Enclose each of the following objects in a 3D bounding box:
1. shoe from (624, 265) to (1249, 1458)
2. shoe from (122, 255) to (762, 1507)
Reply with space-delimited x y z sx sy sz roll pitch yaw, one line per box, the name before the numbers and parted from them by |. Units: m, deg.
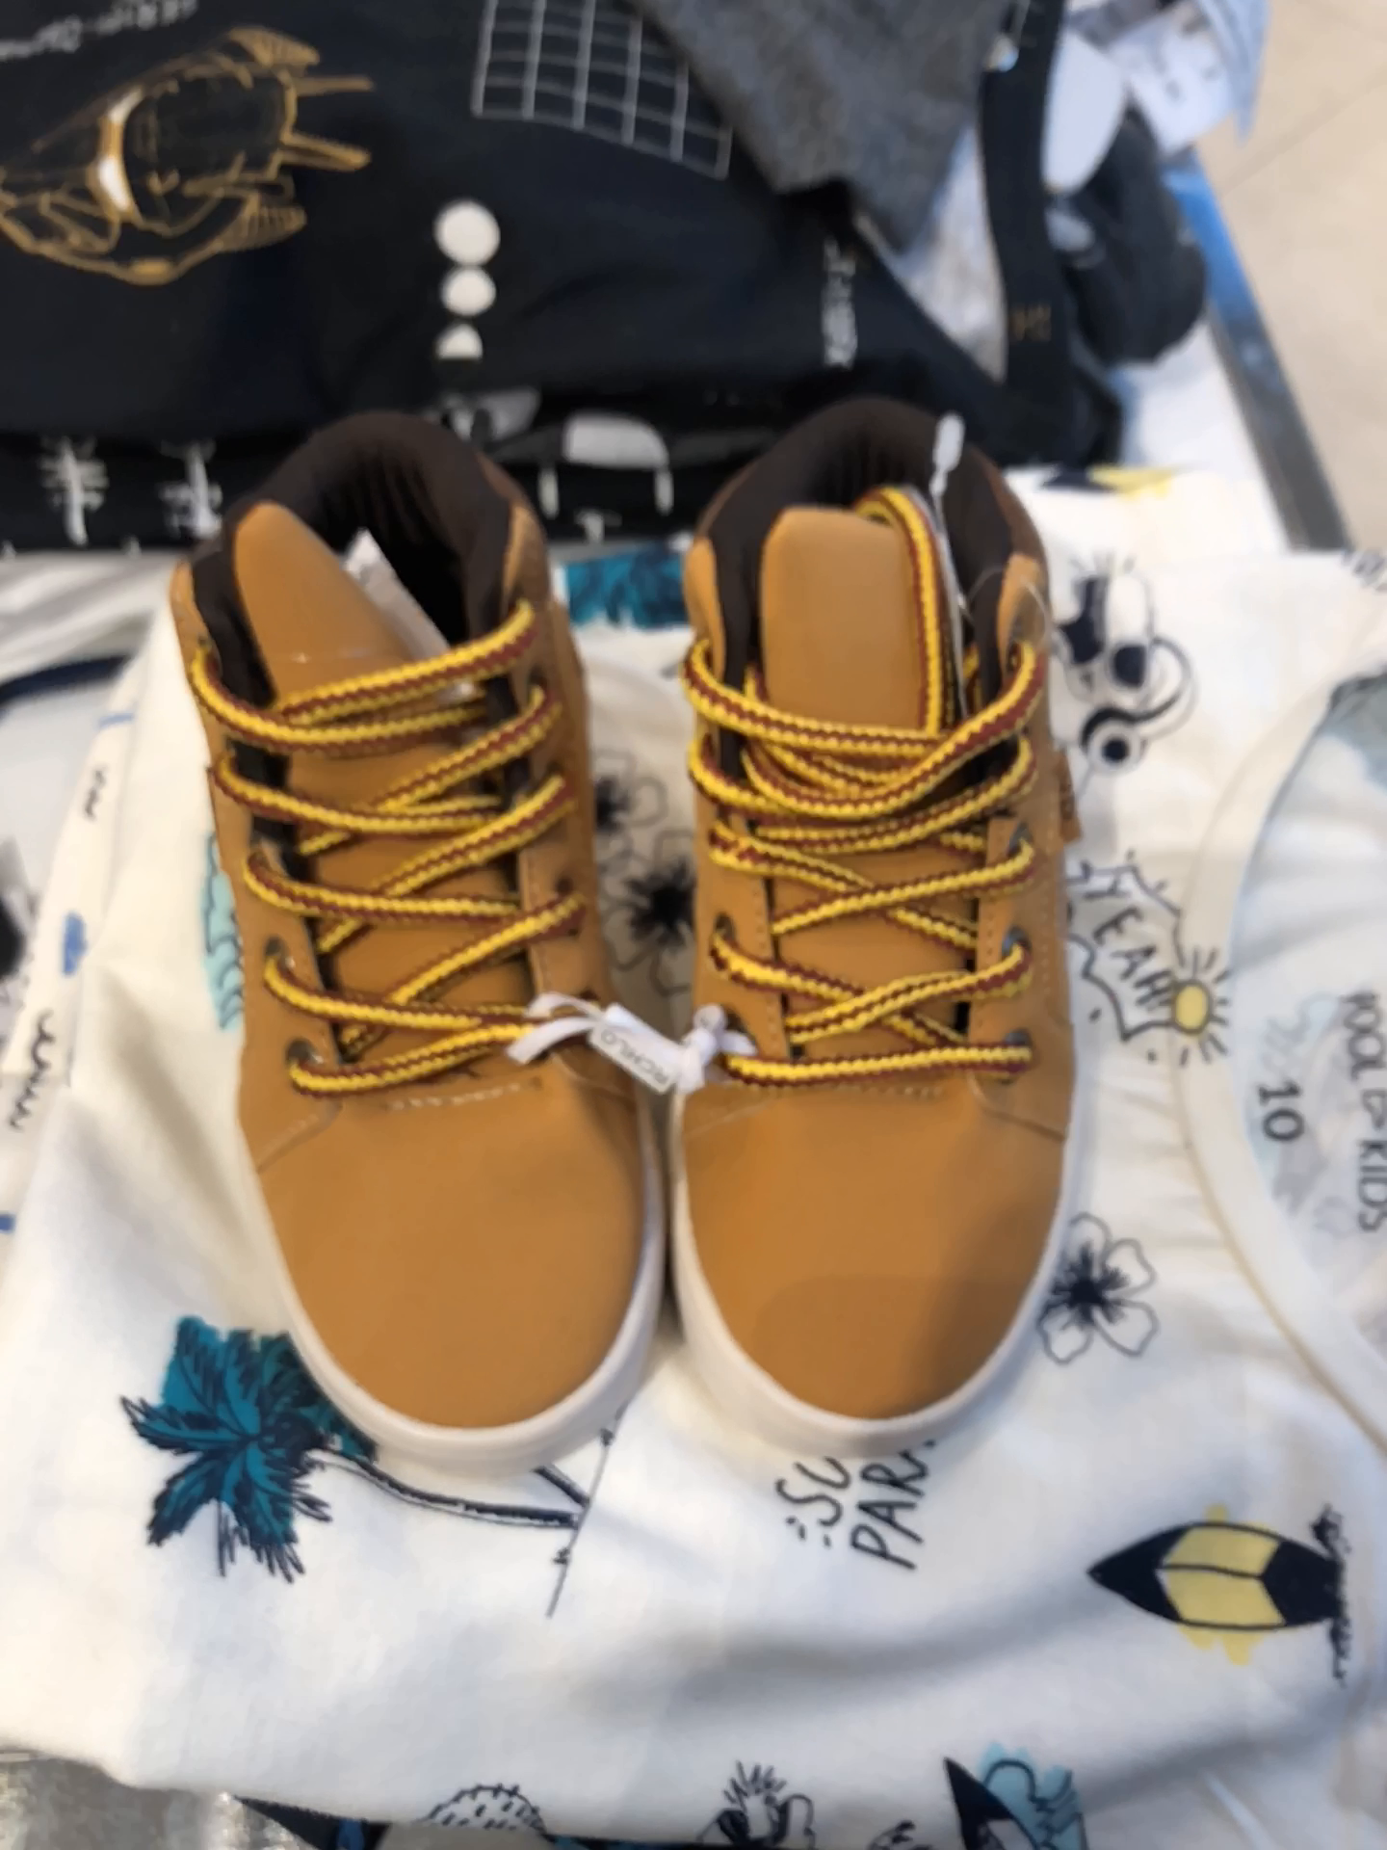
shoe | 0.031 -0.011 0.257 0.070 0.090 0.171 2 62 2
shoe | -0.038 -0.007 0.250 0.070 0.090 0.171 -6 64 -3
